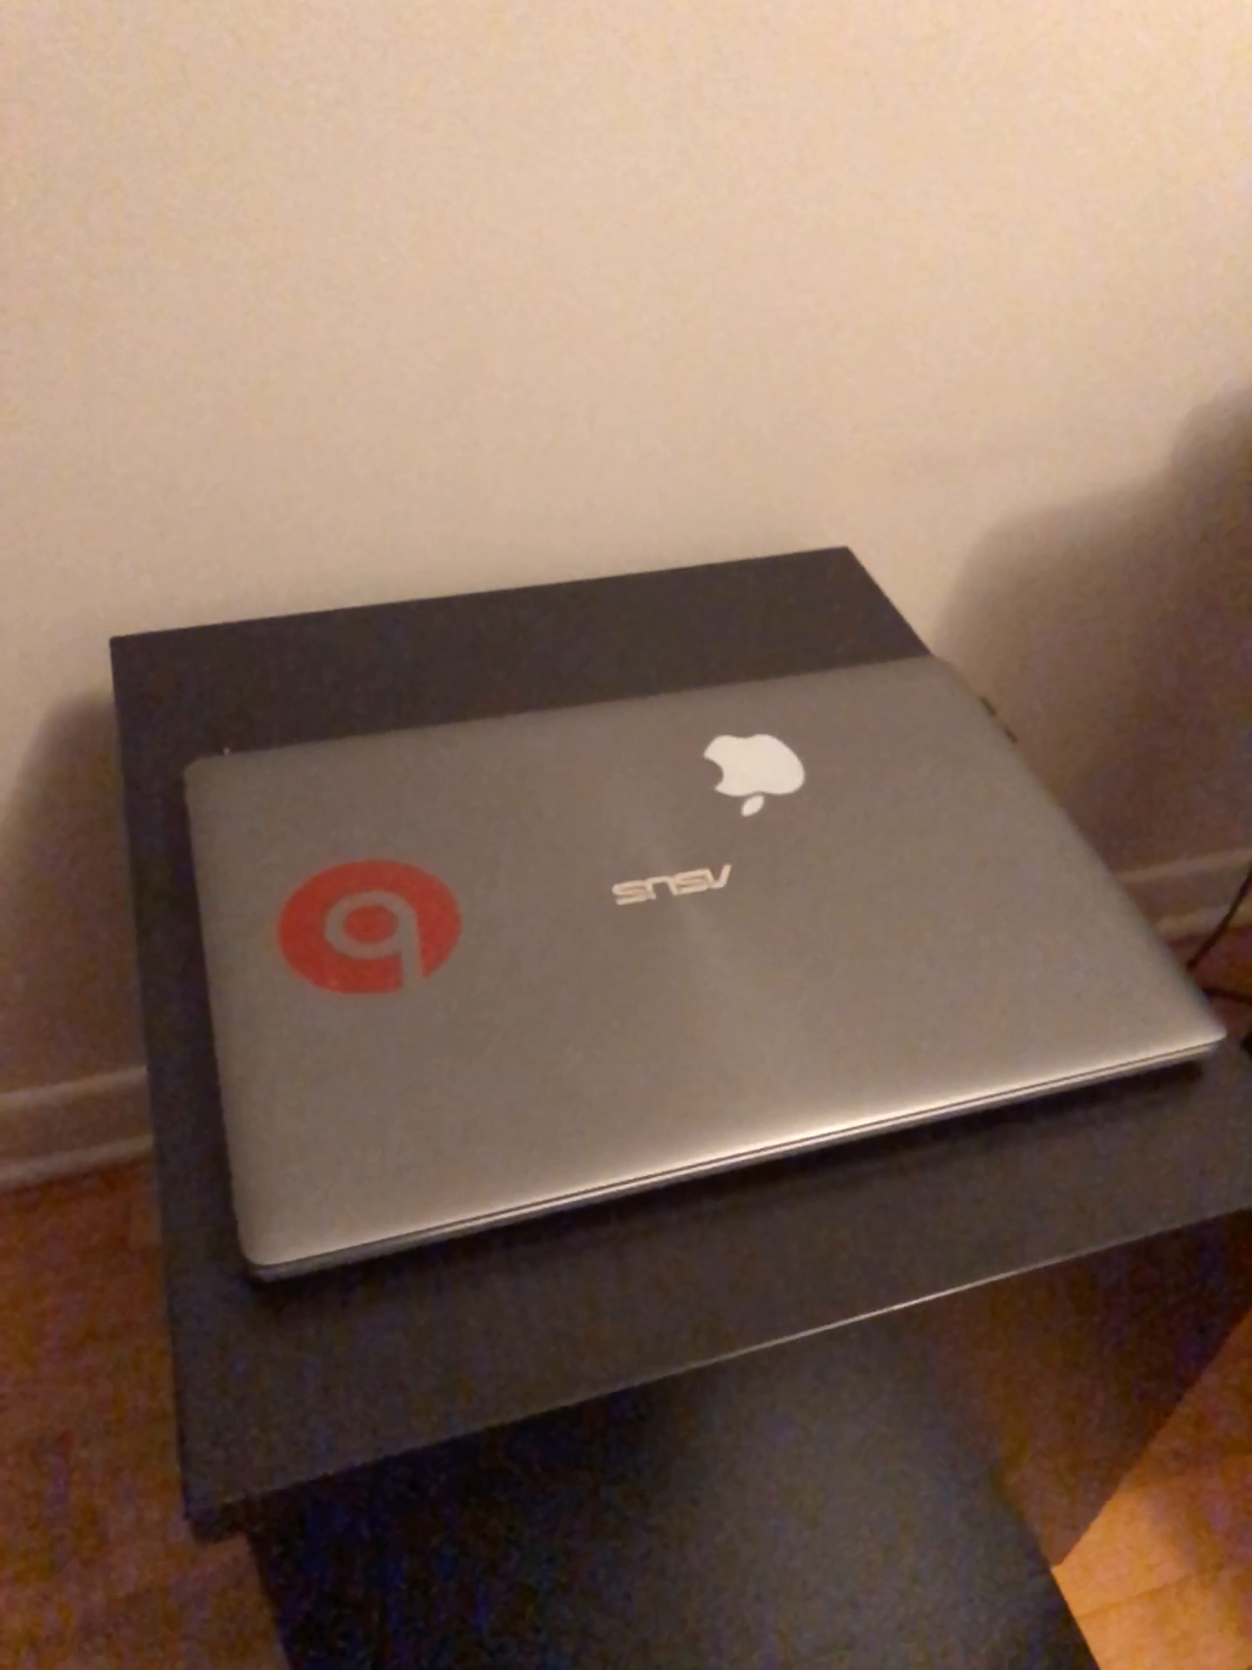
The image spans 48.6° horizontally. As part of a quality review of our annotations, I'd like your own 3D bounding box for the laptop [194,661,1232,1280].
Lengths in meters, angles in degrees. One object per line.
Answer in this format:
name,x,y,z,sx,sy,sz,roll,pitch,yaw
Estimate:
laptop,0.022,0.029,0.585,0.373,0.010,0.250,-10,46,-14
